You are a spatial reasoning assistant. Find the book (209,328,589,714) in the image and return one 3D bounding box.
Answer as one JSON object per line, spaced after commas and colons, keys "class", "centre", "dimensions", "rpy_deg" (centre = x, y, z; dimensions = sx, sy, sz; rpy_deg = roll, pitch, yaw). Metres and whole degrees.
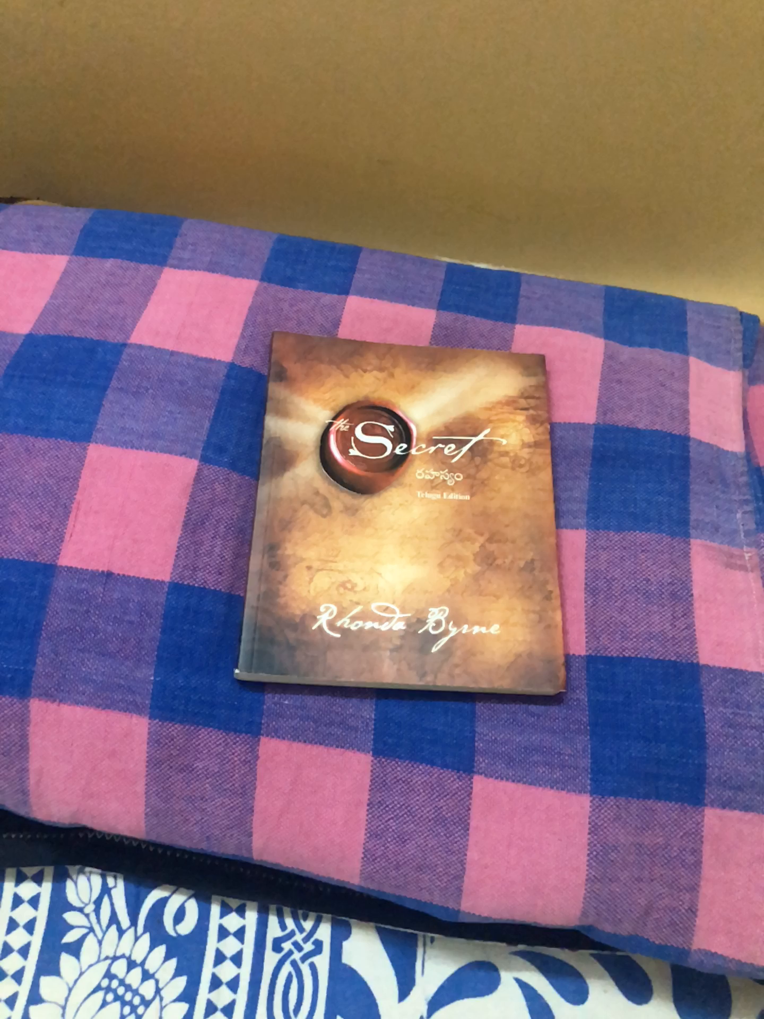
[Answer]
{"class": "book", "centre": [0.009, -0.004, 0.393], "dimensions": [0.150, 0.020, 0.190], "rpy_deg": [3, 57, -2]}
